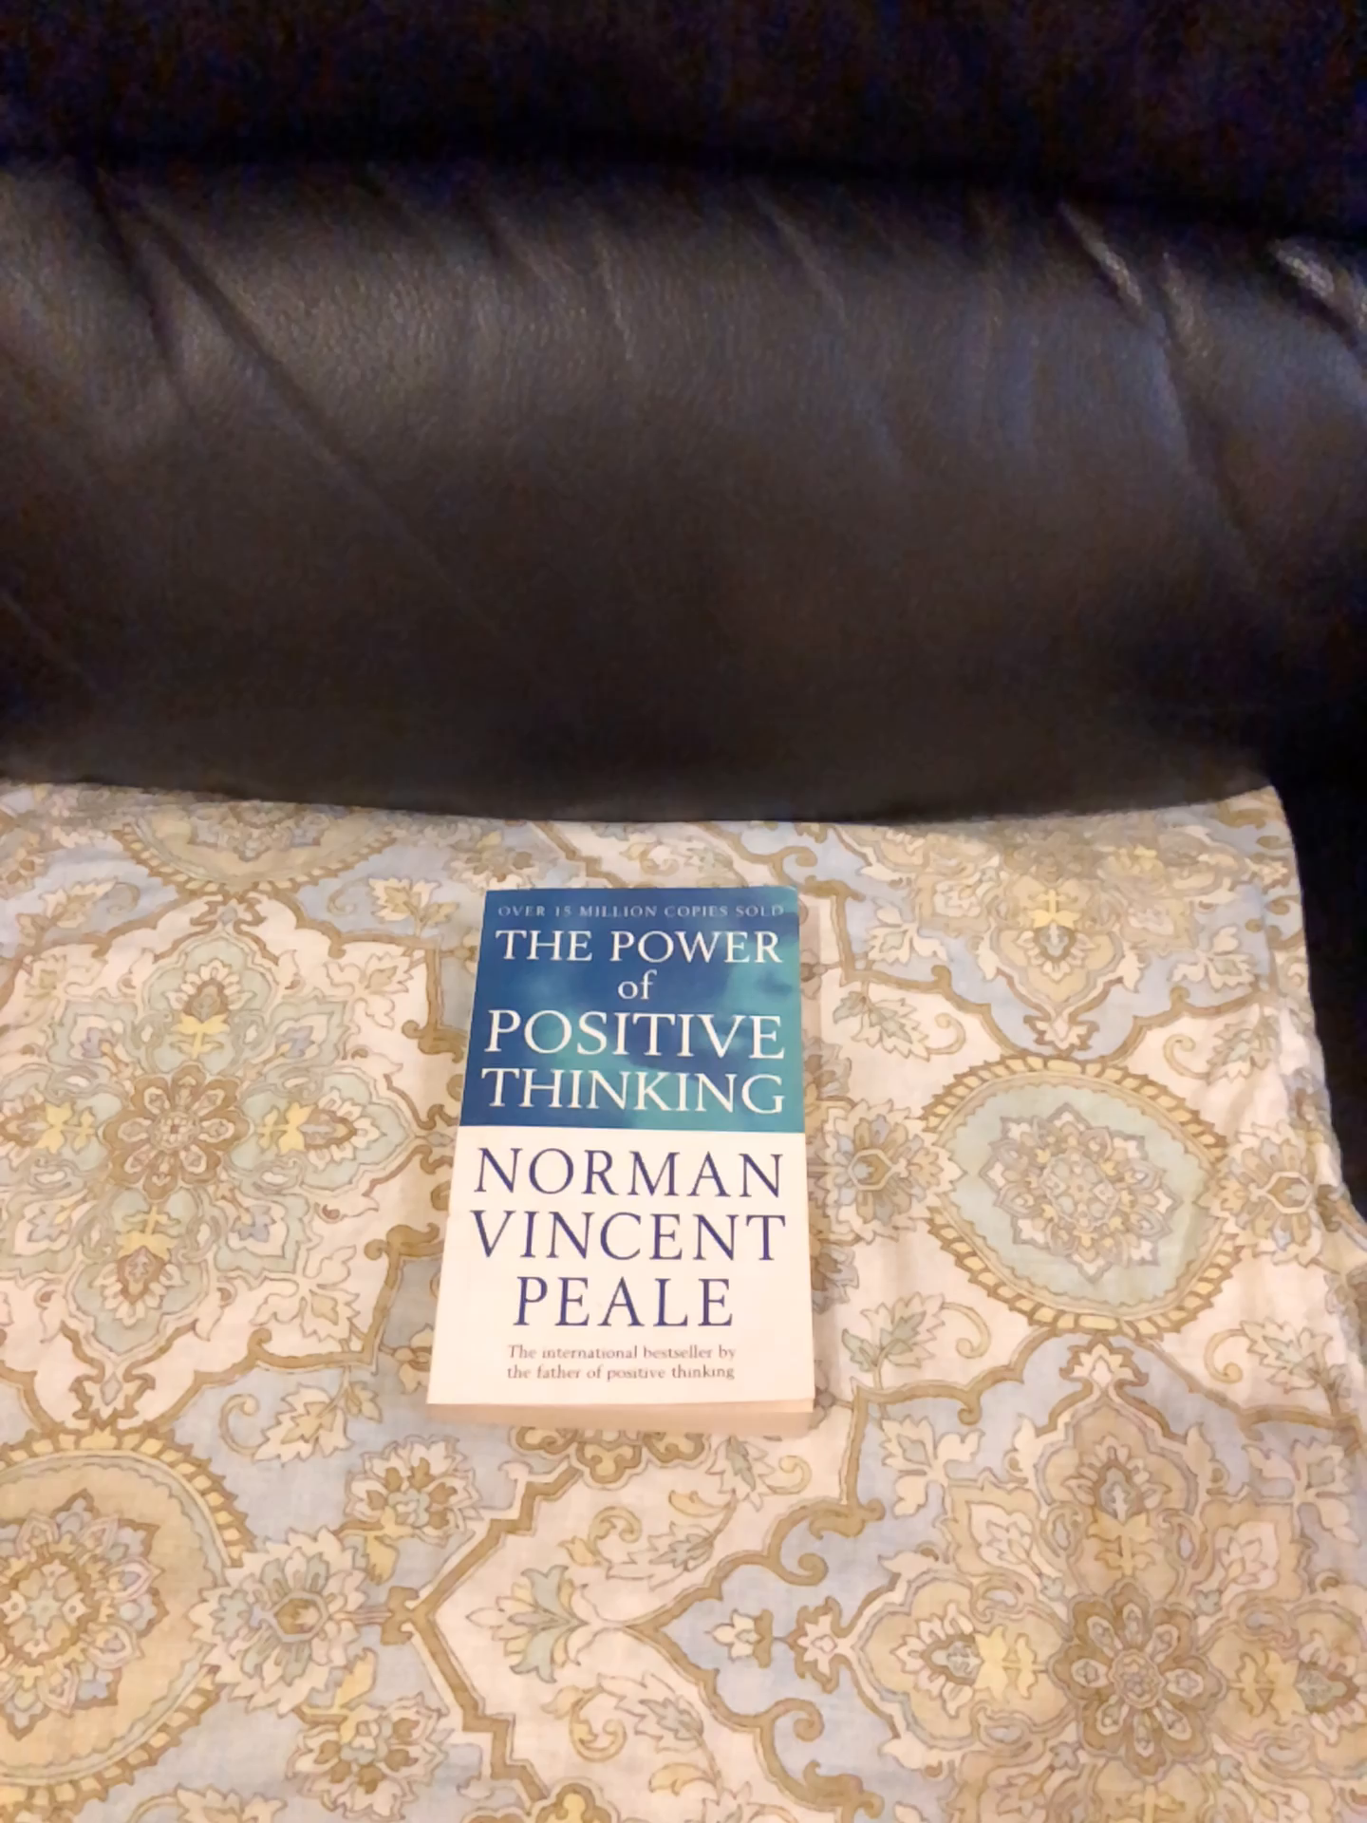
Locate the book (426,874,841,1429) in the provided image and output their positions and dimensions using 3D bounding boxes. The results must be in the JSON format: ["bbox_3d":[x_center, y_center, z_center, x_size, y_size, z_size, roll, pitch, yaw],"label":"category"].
[{"bbox_3d":[-0.015,0.072,0.496,0.120,0.030,0.183,0,58,0],"label":"book"}]
